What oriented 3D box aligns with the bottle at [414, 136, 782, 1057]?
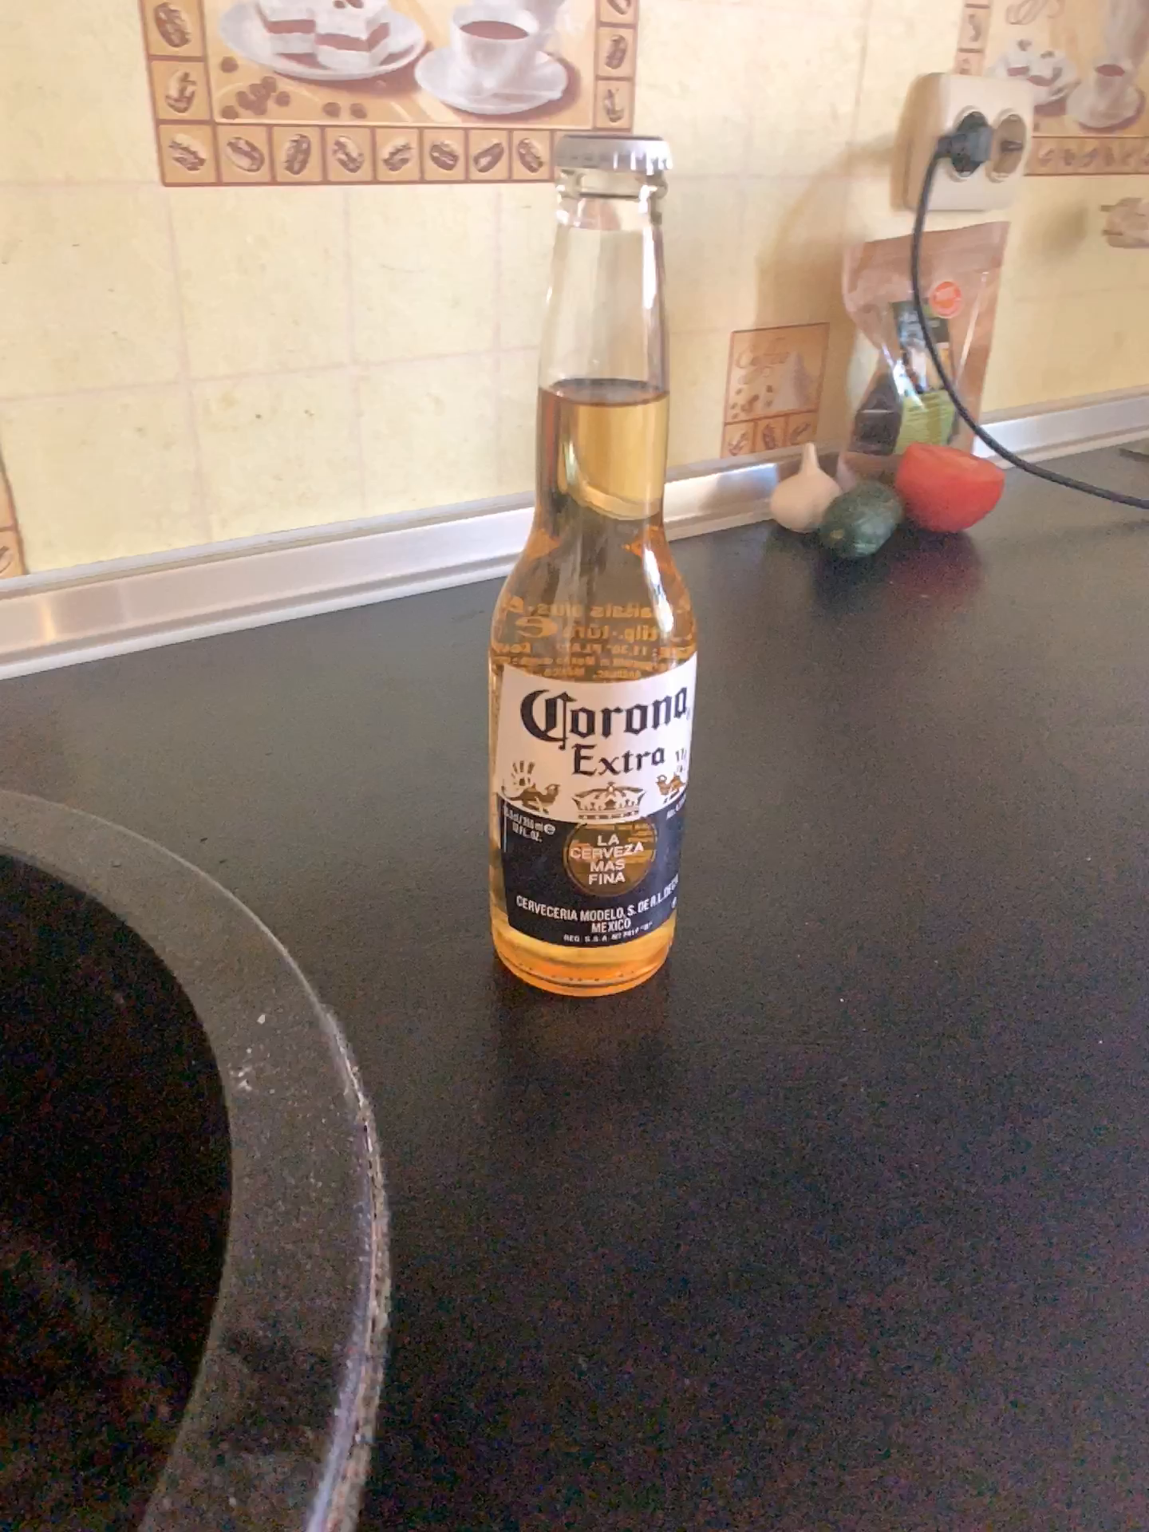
[{"bbox_3d":[-0.001,-0.040,0.343,0.070,0.249,0.070,2,29,-1],"label":"bottle"}]
